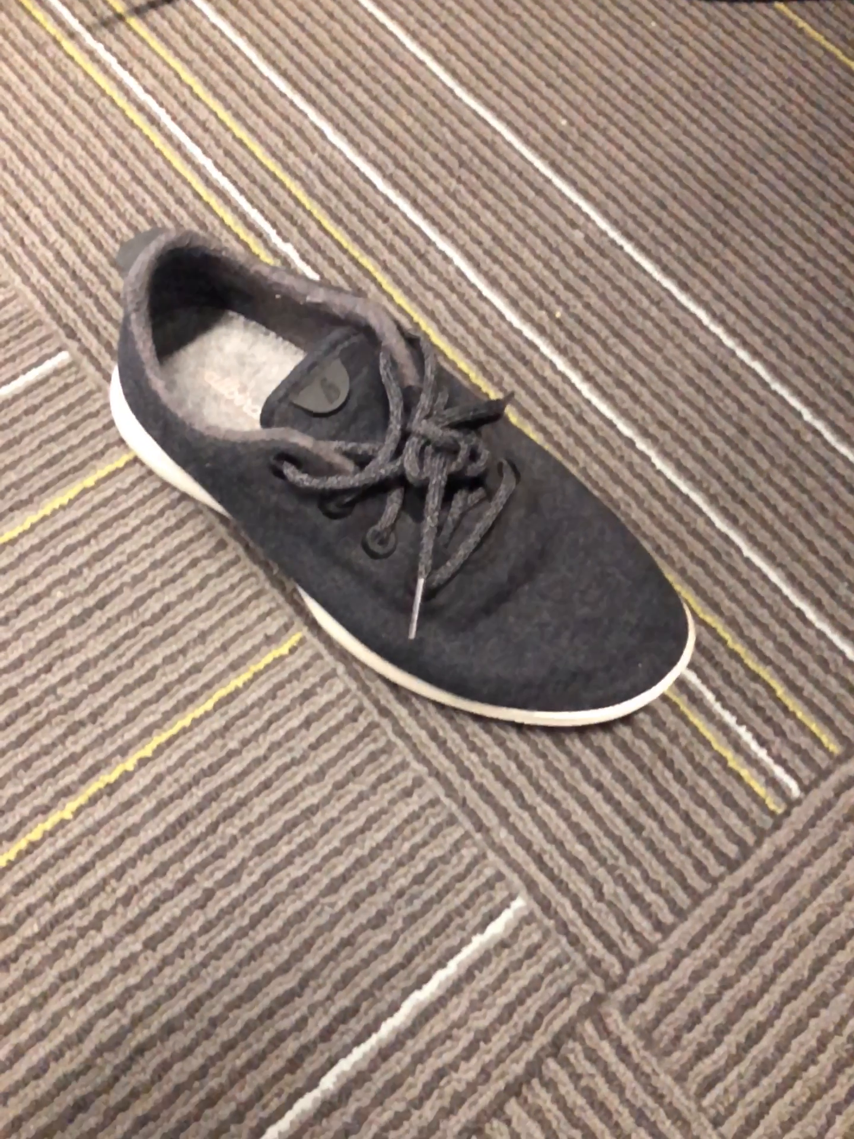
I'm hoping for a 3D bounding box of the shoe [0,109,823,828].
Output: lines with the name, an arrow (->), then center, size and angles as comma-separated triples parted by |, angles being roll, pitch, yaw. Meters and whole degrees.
shoe -> -0.014, -0.042, 0.354 | 0.270, 0.070, 0.120 | 36, 70, 10
